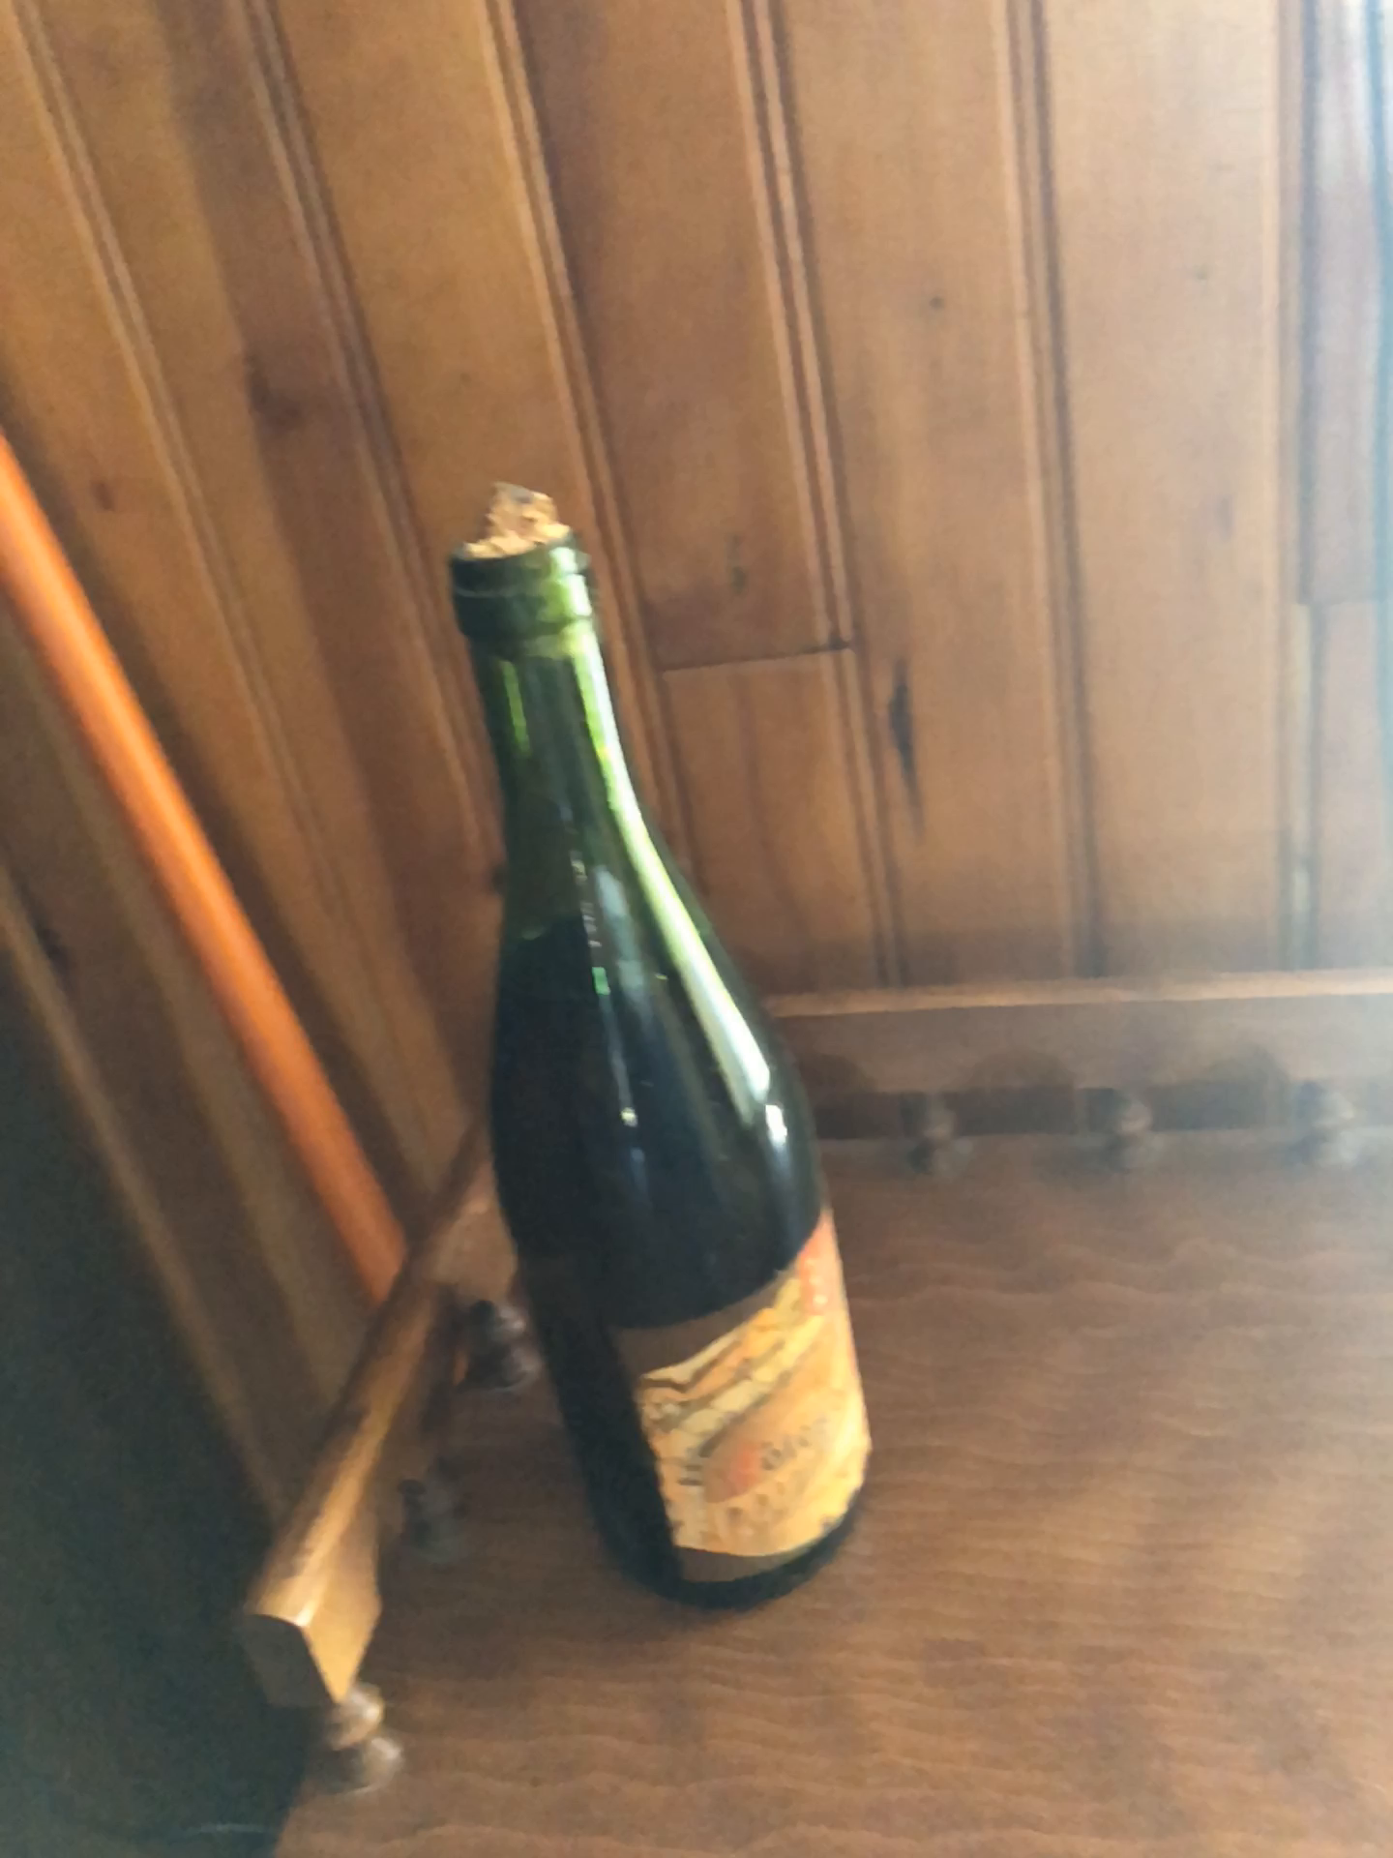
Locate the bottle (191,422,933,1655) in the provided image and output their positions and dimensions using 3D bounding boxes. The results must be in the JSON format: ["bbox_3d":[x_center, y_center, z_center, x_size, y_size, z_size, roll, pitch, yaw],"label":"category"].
[{"bbox_3d":[-0.011,0.037,0.367,0.090,0.278,0.091,-9,30,5],"label":"bottle"}]
